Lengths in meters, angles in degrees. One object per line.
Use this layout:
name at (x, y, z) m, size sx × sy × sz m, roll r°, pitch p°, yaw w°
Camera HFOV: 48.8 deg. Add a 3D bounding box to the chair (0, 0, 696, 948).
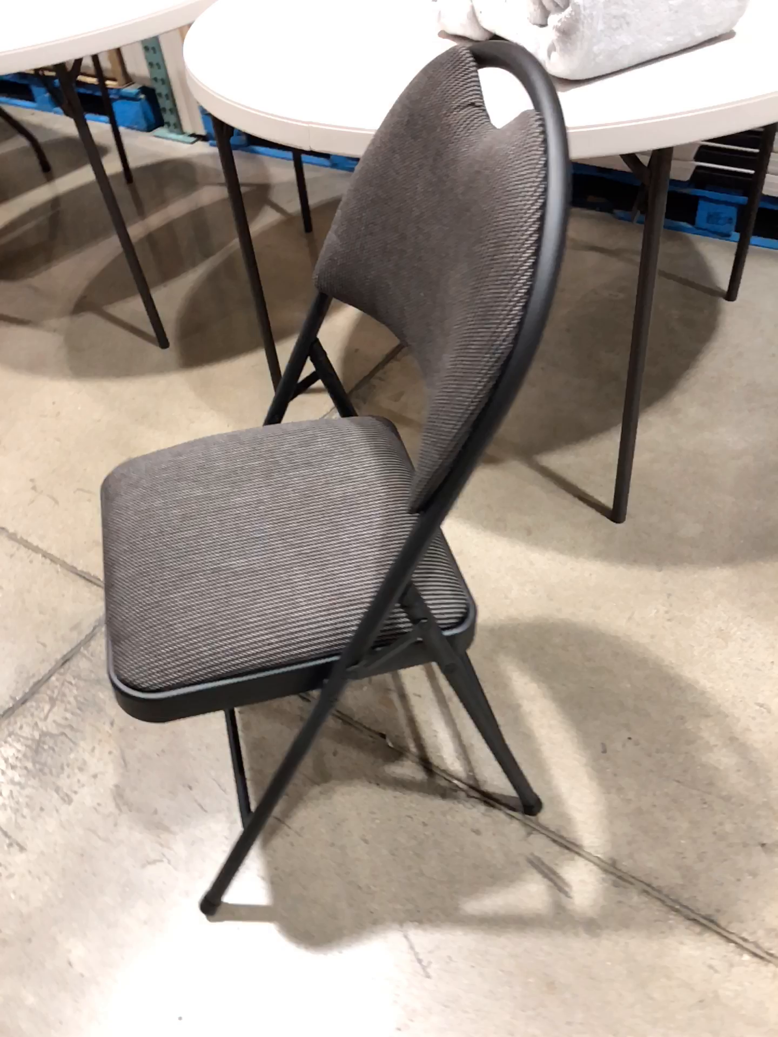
chair at (-0.108, -0.012, 0.949) m, size 0.560 × 0.857 × 0.512 m, roll -13°, pitch 45°, yaw -5°
